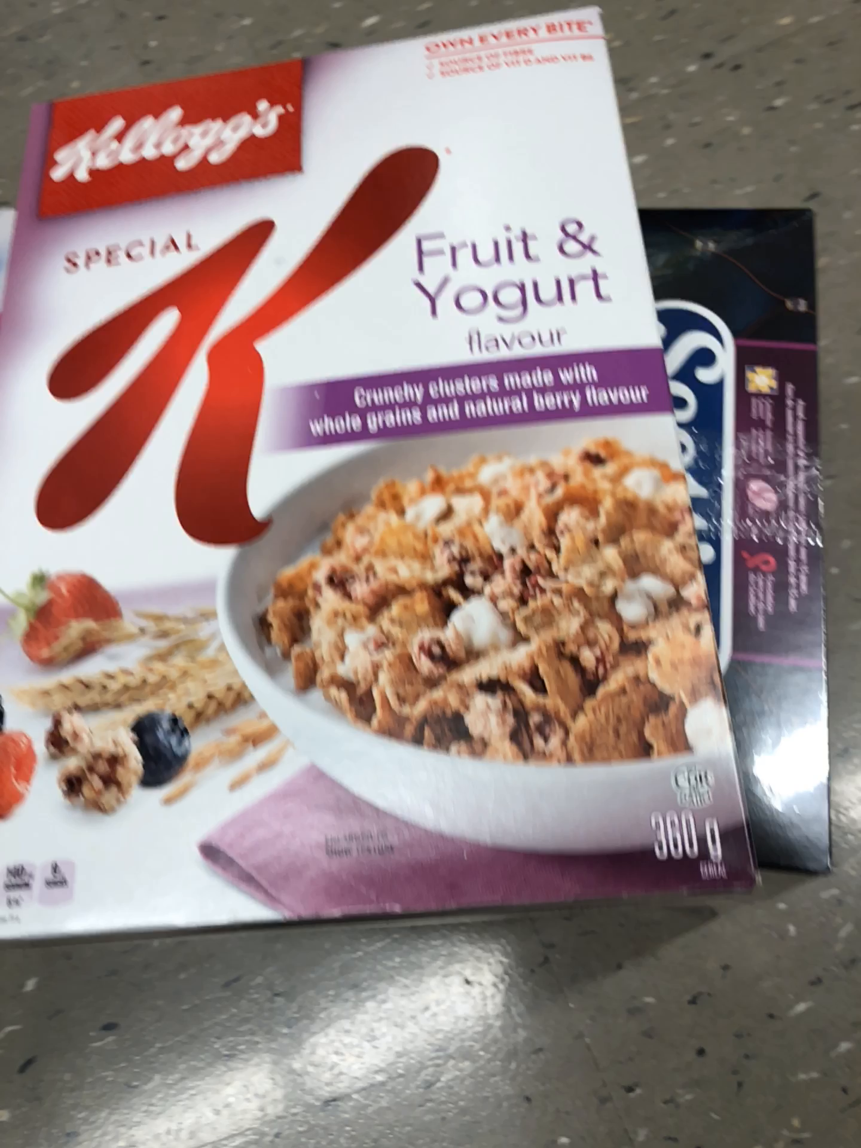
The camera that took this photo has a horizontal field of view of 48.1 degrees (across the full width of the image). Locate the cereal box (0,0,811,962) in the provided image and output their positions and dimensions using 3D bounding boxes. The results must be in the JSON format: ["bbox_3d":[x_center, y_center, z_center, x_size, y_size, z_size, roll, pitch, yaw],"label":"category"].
[{"bbox_3d":[-0.032,-0.044,0.286,0.210,0.050,0.280,-6,64,6],"label":"cereal box"}]
